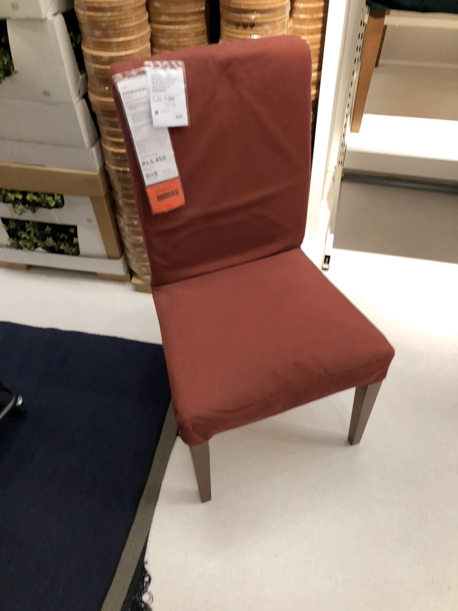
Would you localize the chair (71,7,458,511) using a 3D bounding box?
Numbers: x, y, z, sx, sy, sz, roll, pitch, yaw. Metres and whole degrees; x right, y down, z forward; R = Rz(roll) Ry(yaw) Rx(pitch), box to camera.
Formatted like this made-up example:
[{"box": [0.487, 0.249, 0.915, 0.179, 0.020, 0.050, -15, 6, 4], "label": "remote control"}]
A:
[{"box": [0.051, -0.039, 1.202, 0.520, 0.994, 0.533, -16, 50, -12], "label": "chair"}]
